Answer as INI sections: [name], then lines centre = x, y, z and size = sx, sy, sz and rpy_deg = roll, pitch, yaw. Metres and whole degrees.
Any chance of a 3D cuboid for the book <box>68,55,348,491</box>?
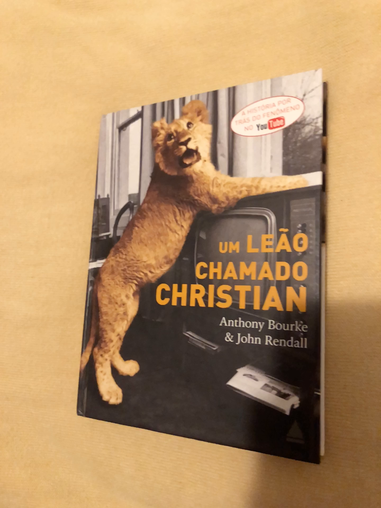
[book]
centre = 0.008, 0.004, 0.243
size = 0.150, 0.030, 0.200
rpy_deg = -2, 78, 30
